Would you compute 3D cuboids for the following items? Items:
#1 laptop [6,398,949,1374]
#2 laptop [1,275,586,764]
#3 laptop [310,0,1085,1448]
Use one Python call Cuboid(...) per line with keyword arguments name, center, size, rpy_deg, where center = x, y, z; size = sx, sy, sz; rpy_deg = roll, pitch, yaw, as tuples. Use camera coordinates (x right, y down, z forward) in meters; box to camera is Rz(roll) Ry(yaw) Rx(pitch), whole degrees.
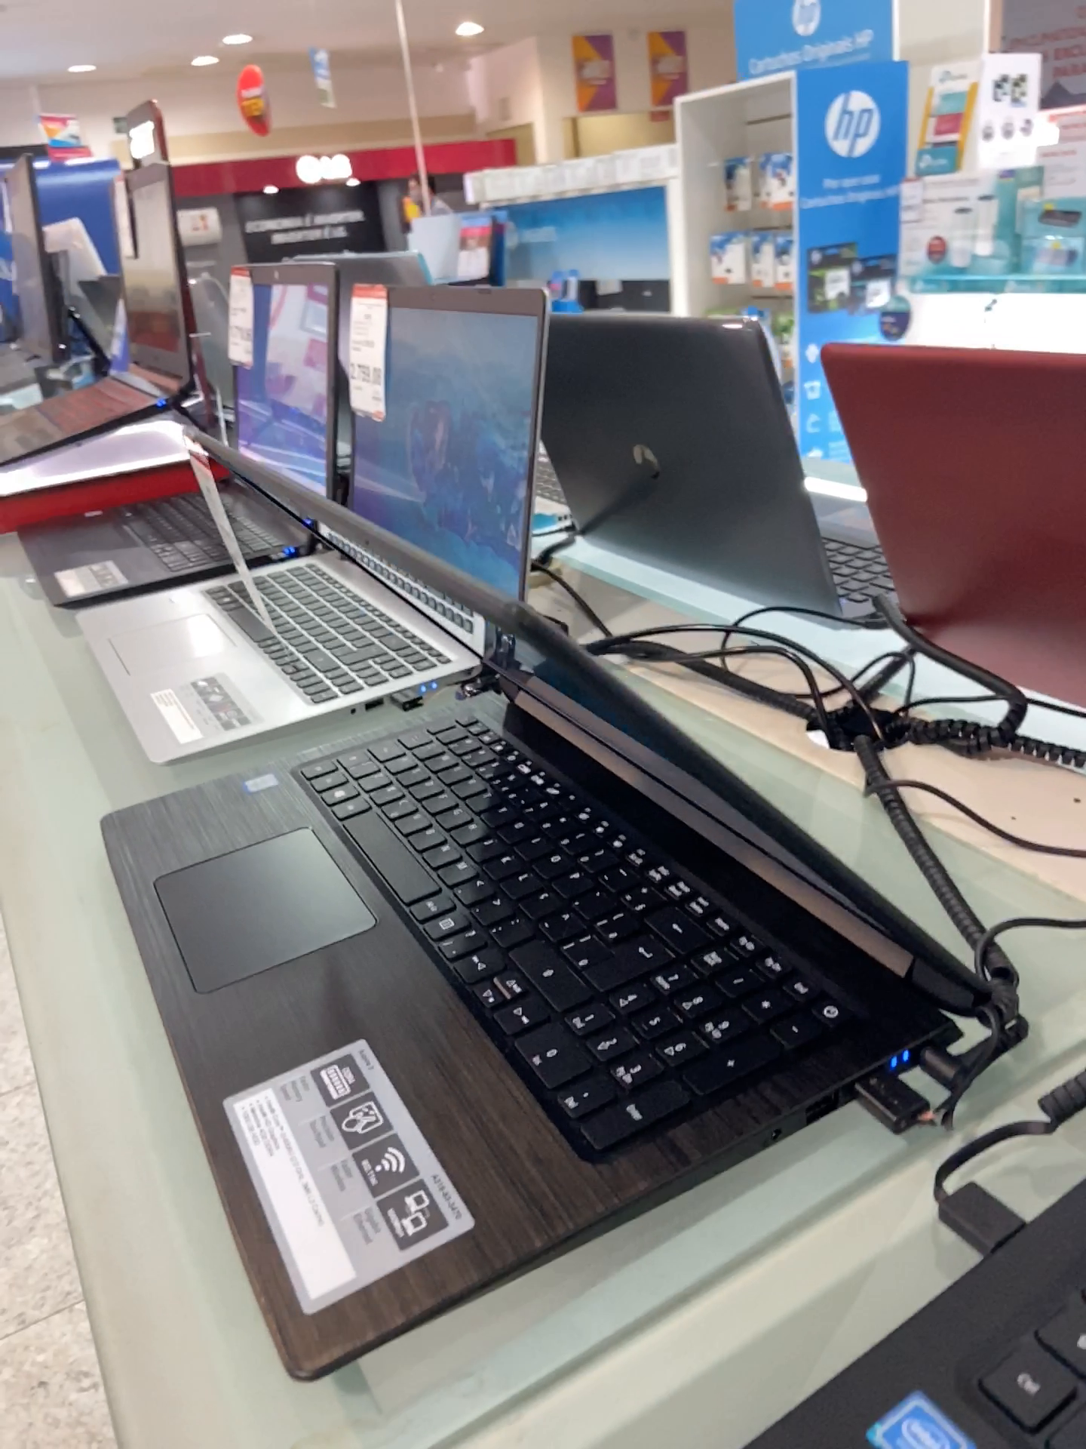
Cuboid(name="laptop", center=(-0.061, -0.005, 0.464), size=(0.234, 0.186, 0.375), rpy_deg=(-18, 26, -22))
Cuboid(name="laptop", center=(-0.206, -0.188, 0.845), size=(0.302, 0.233, 0.397), rpy_deg=(-18, 26, -22))
Cuboid(name="laptop", center=(0.227, 0.096, 0.086), size=(0.285, 0.246, 0.432), rpy_deg=(-21, 28, -26))
